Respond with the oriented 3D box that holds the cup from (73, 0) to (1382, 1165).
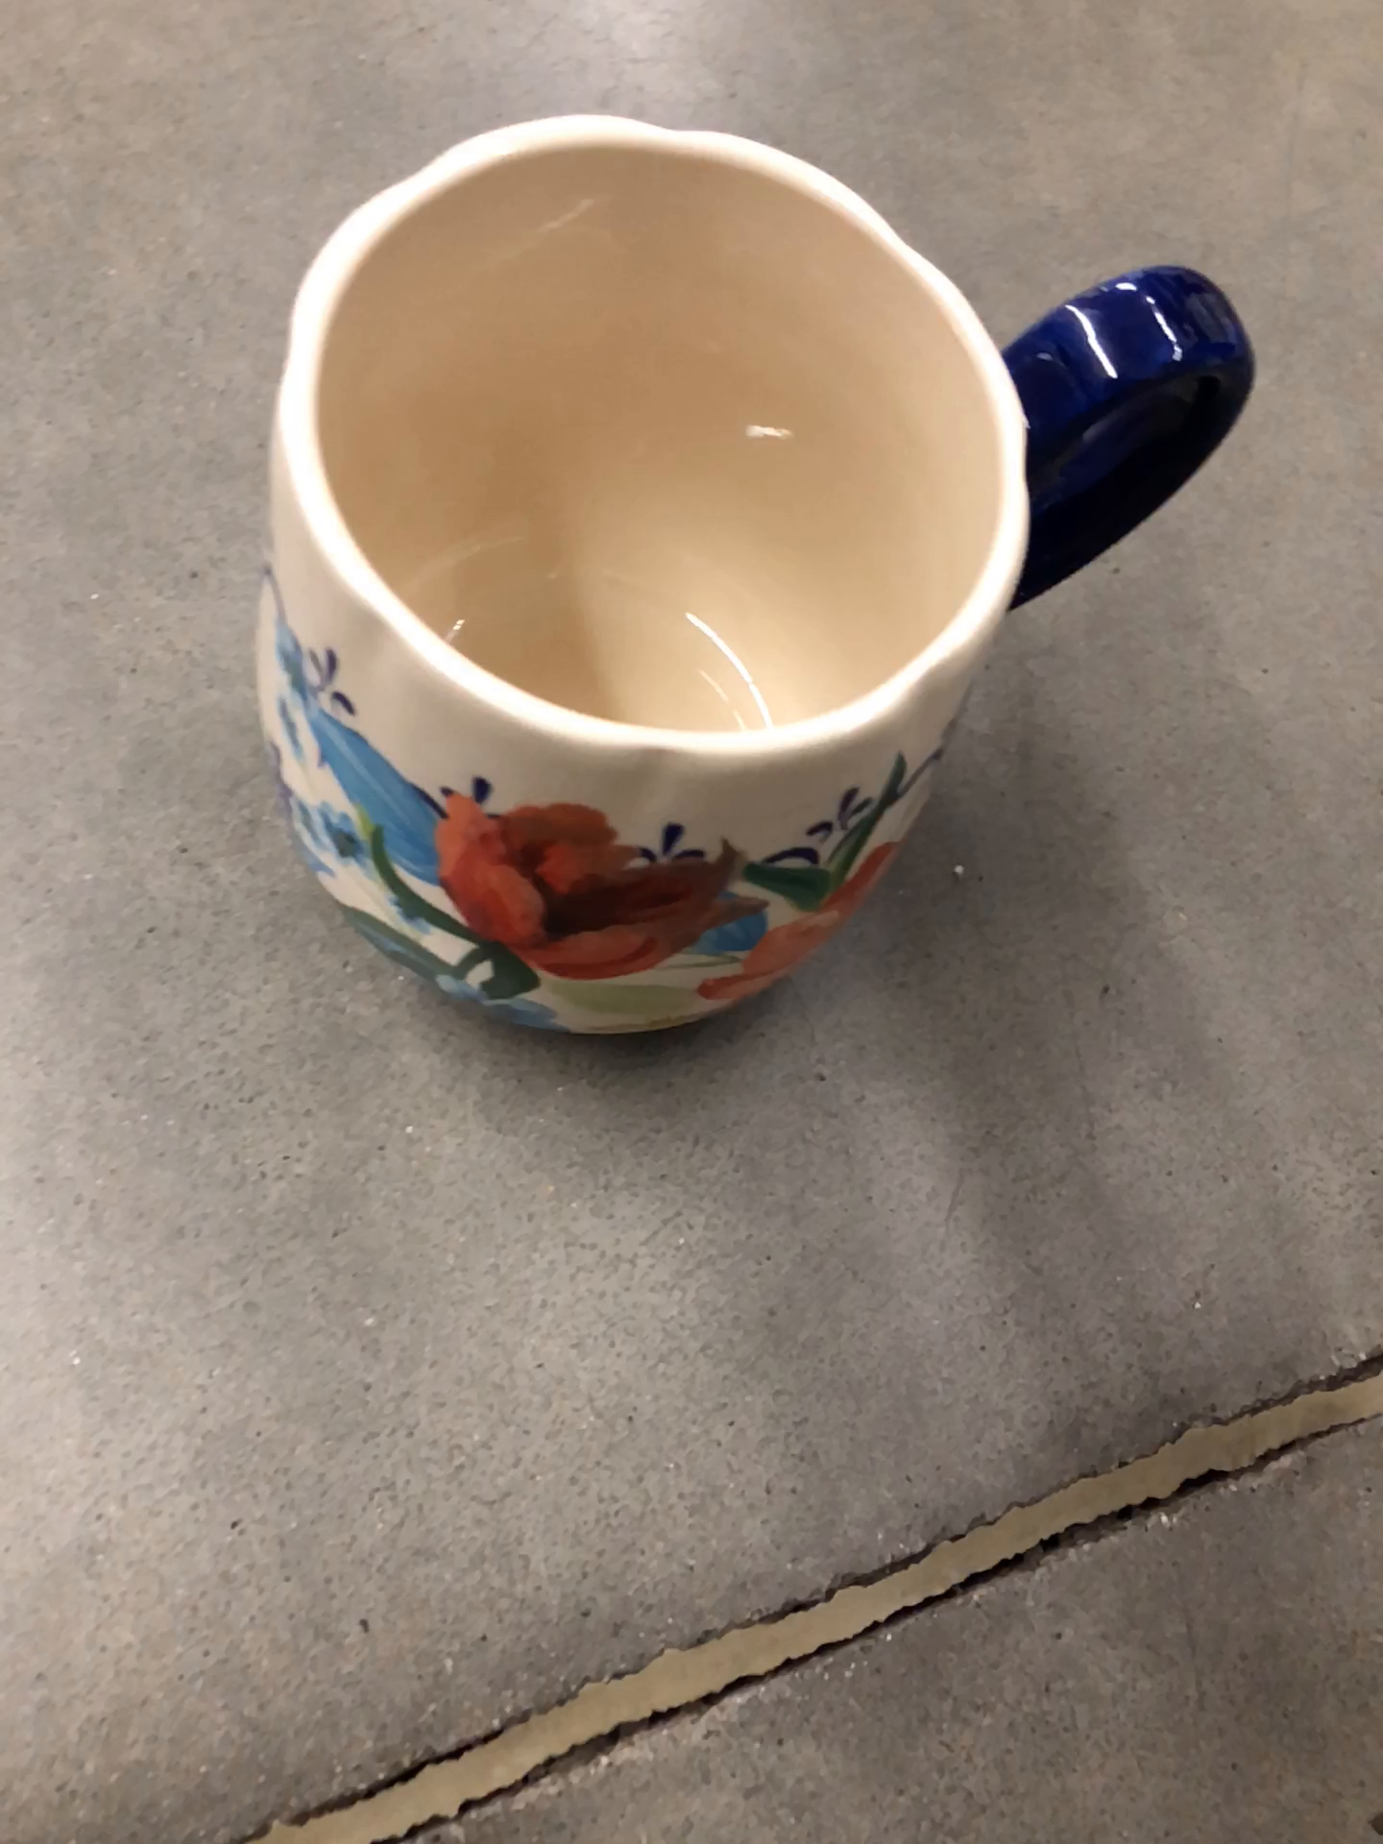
[{"bbox_3d":[0.007,-0.046,0.222,0.140,0.100,0.100,-21,77,-15],"label":"cup"}]
